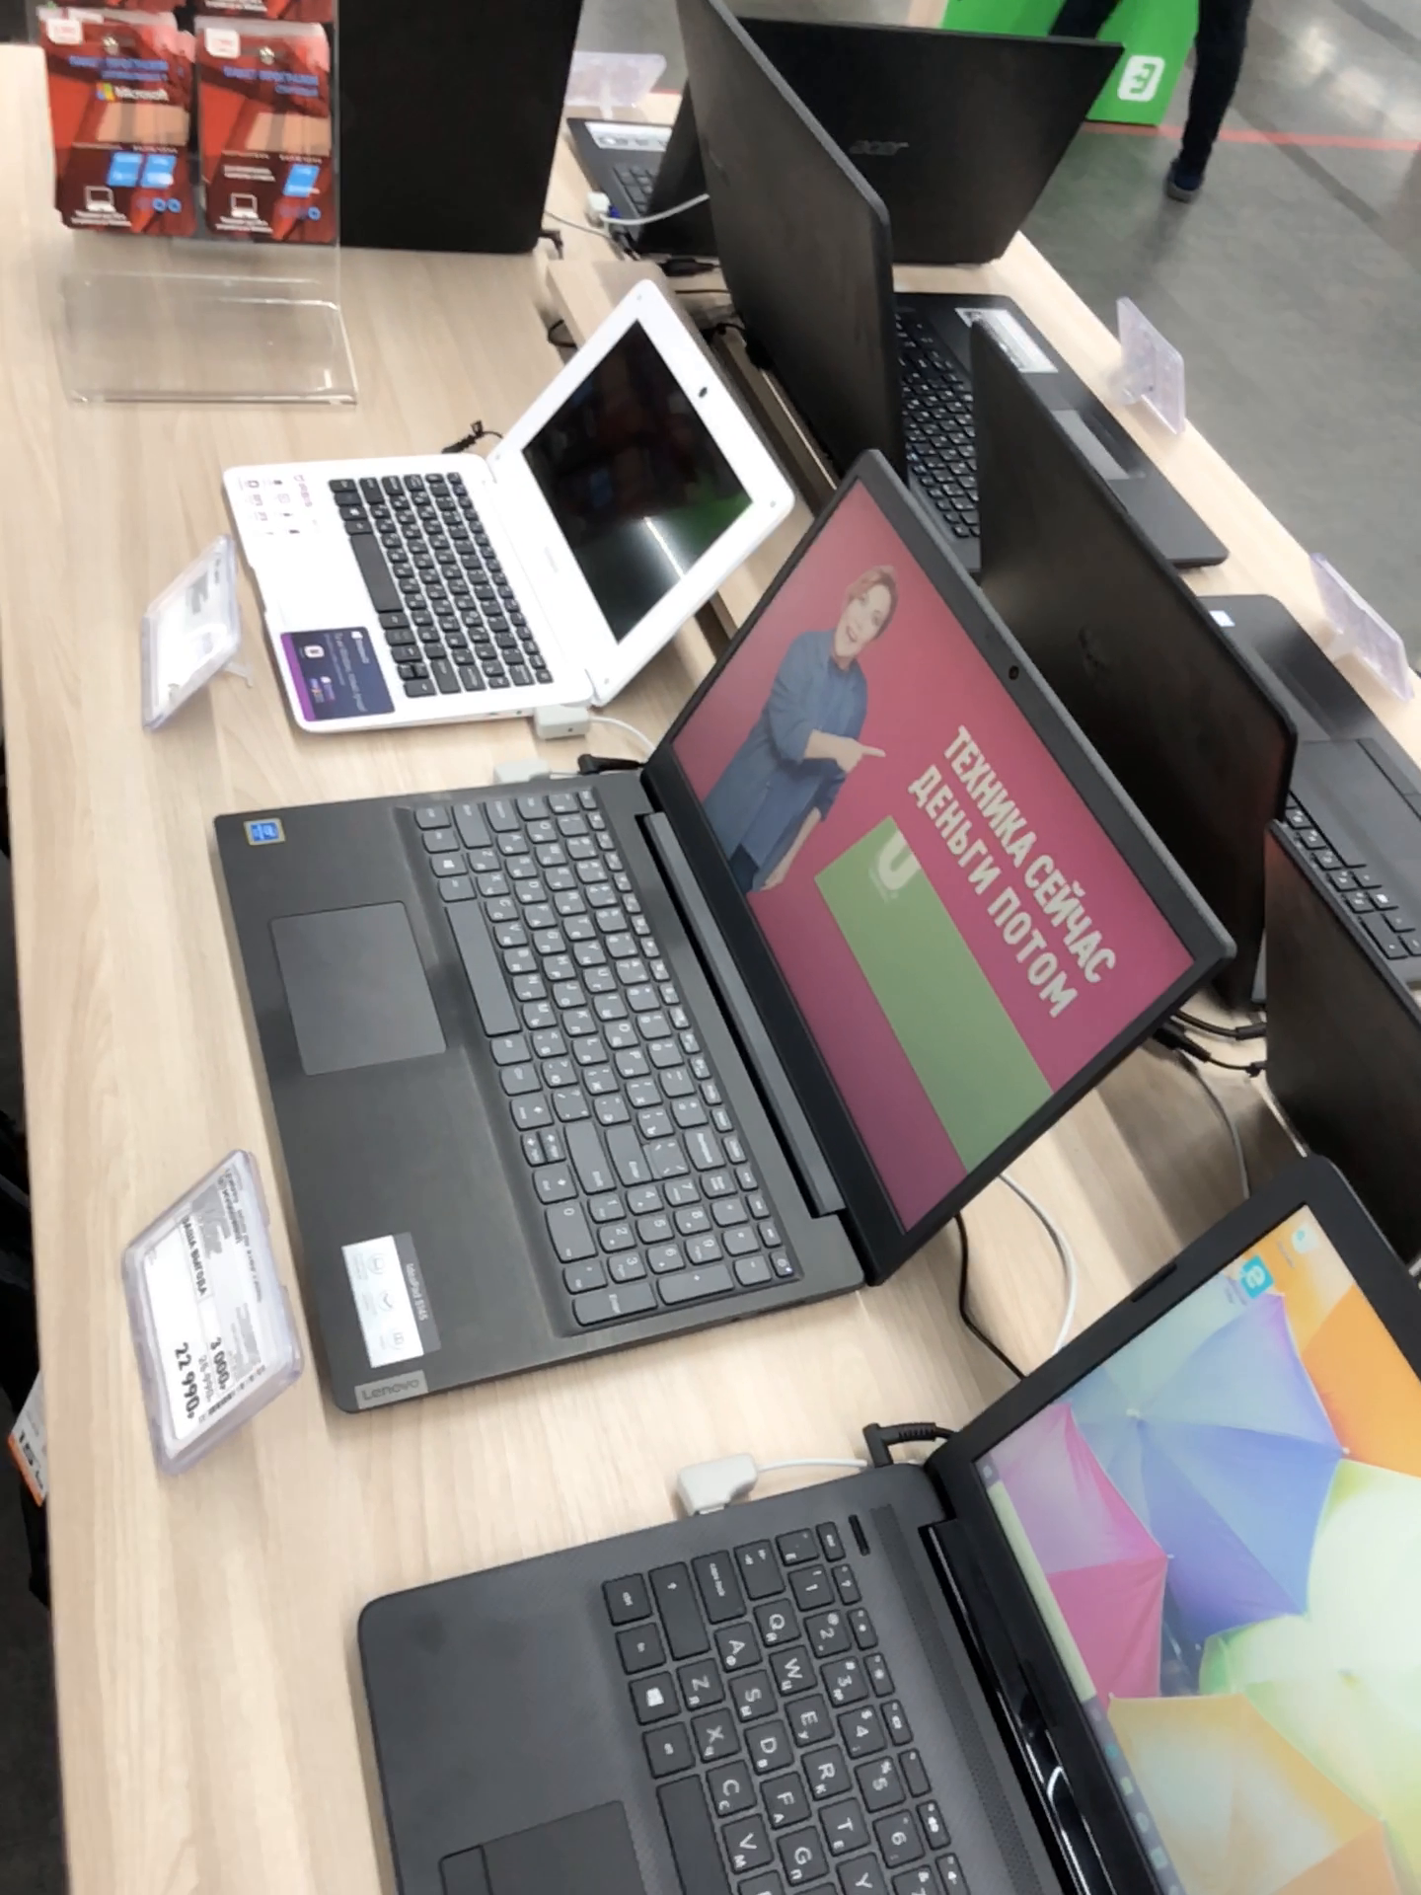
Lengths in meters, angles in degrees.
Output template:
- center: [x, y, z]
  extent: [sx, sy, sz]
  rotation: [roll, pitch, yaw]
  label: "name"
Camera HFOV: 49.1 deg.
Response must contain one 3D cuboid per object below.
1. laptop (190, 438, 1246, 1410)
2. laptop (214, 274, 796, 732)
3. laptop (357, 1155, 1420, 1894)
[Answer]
- center: [-0.031, -0.038, 0.721]
  extent: [0.341, 0.212, 0.356]
  rotation: [-9, 51, -20]
  label: "laptop"
- center: [-0.143, -0.297, 0.995]
  extent: [0.289, 0.139, 0.280]
  rotation: [-9, 50, -20]
  label: "laptop"
- center: [0.095, 0.296, 0.428]
  extent: [0.321, 0.206, 0.376]
  rotation: [-7, 49, -19]
  label: "laptop"
